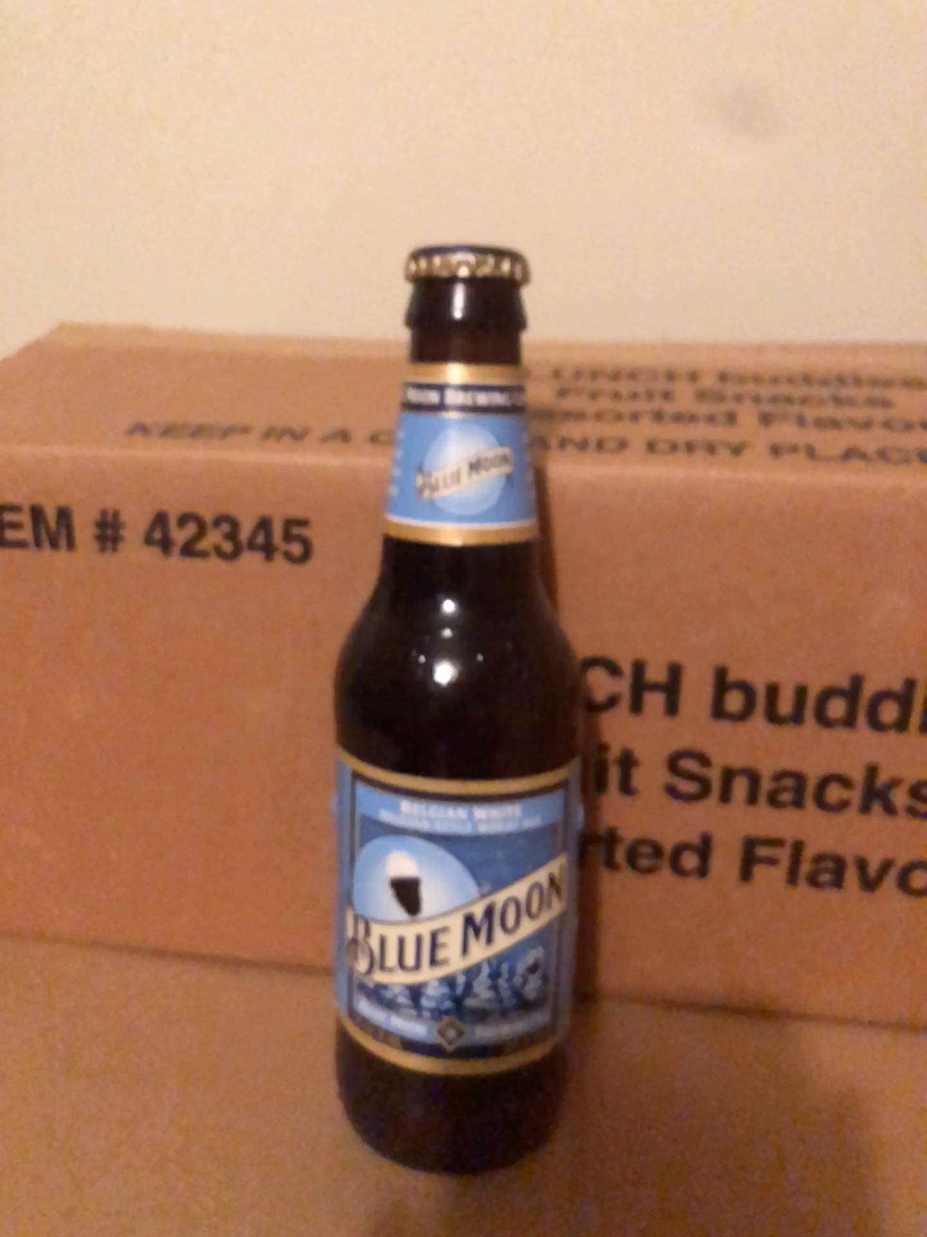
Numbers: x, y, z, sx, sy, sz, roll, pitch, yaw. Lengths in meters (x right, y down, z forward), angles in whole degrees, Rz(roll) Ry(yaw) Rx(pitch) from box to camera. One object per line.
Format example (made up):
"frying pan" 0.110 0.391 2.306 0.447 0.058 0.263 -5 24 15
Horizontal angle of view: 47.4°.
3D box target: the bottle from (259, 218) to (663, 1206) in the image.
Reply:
"bottle" 0.001 0.023 0.240 0.070 0.210 0.060 1 16 3
